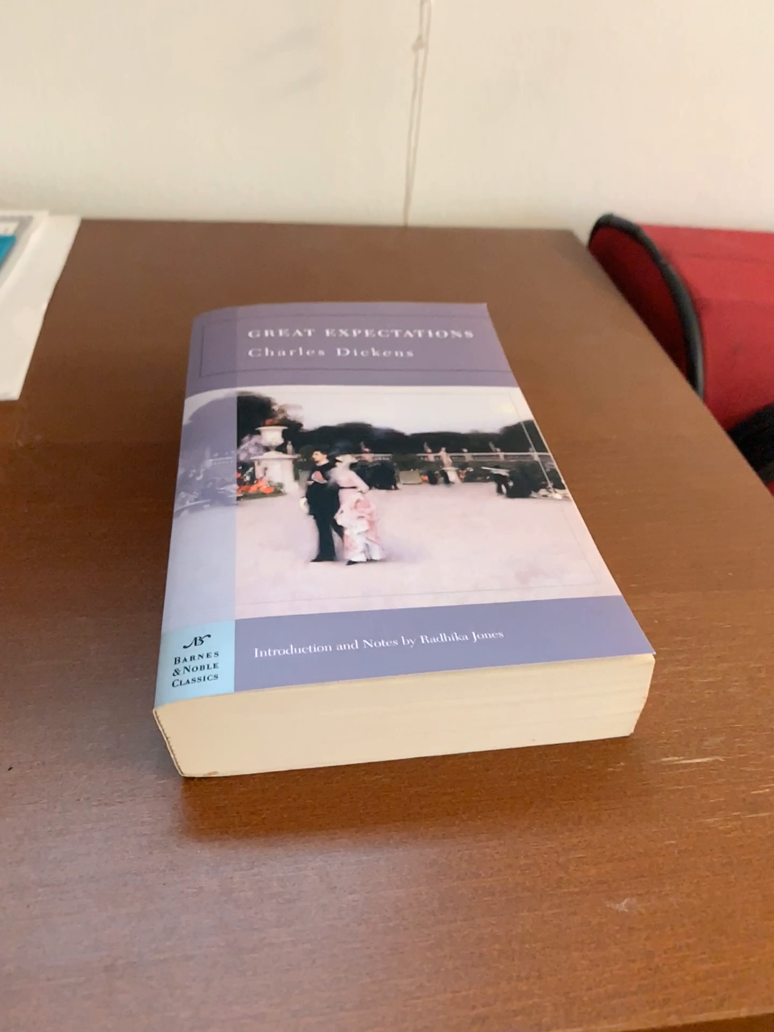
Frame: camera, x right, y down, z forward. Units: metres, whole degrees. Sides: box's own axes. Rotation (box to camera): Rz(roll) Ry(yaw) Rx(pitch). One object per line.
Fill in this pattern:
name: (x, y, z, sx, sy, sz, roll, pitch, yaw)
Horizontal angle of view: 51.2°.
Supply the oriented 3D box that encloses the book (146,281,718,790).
book: (-0.001, -0.015, 0.279, 0.140, 0.040, 0.202, -2, 43, -10)
